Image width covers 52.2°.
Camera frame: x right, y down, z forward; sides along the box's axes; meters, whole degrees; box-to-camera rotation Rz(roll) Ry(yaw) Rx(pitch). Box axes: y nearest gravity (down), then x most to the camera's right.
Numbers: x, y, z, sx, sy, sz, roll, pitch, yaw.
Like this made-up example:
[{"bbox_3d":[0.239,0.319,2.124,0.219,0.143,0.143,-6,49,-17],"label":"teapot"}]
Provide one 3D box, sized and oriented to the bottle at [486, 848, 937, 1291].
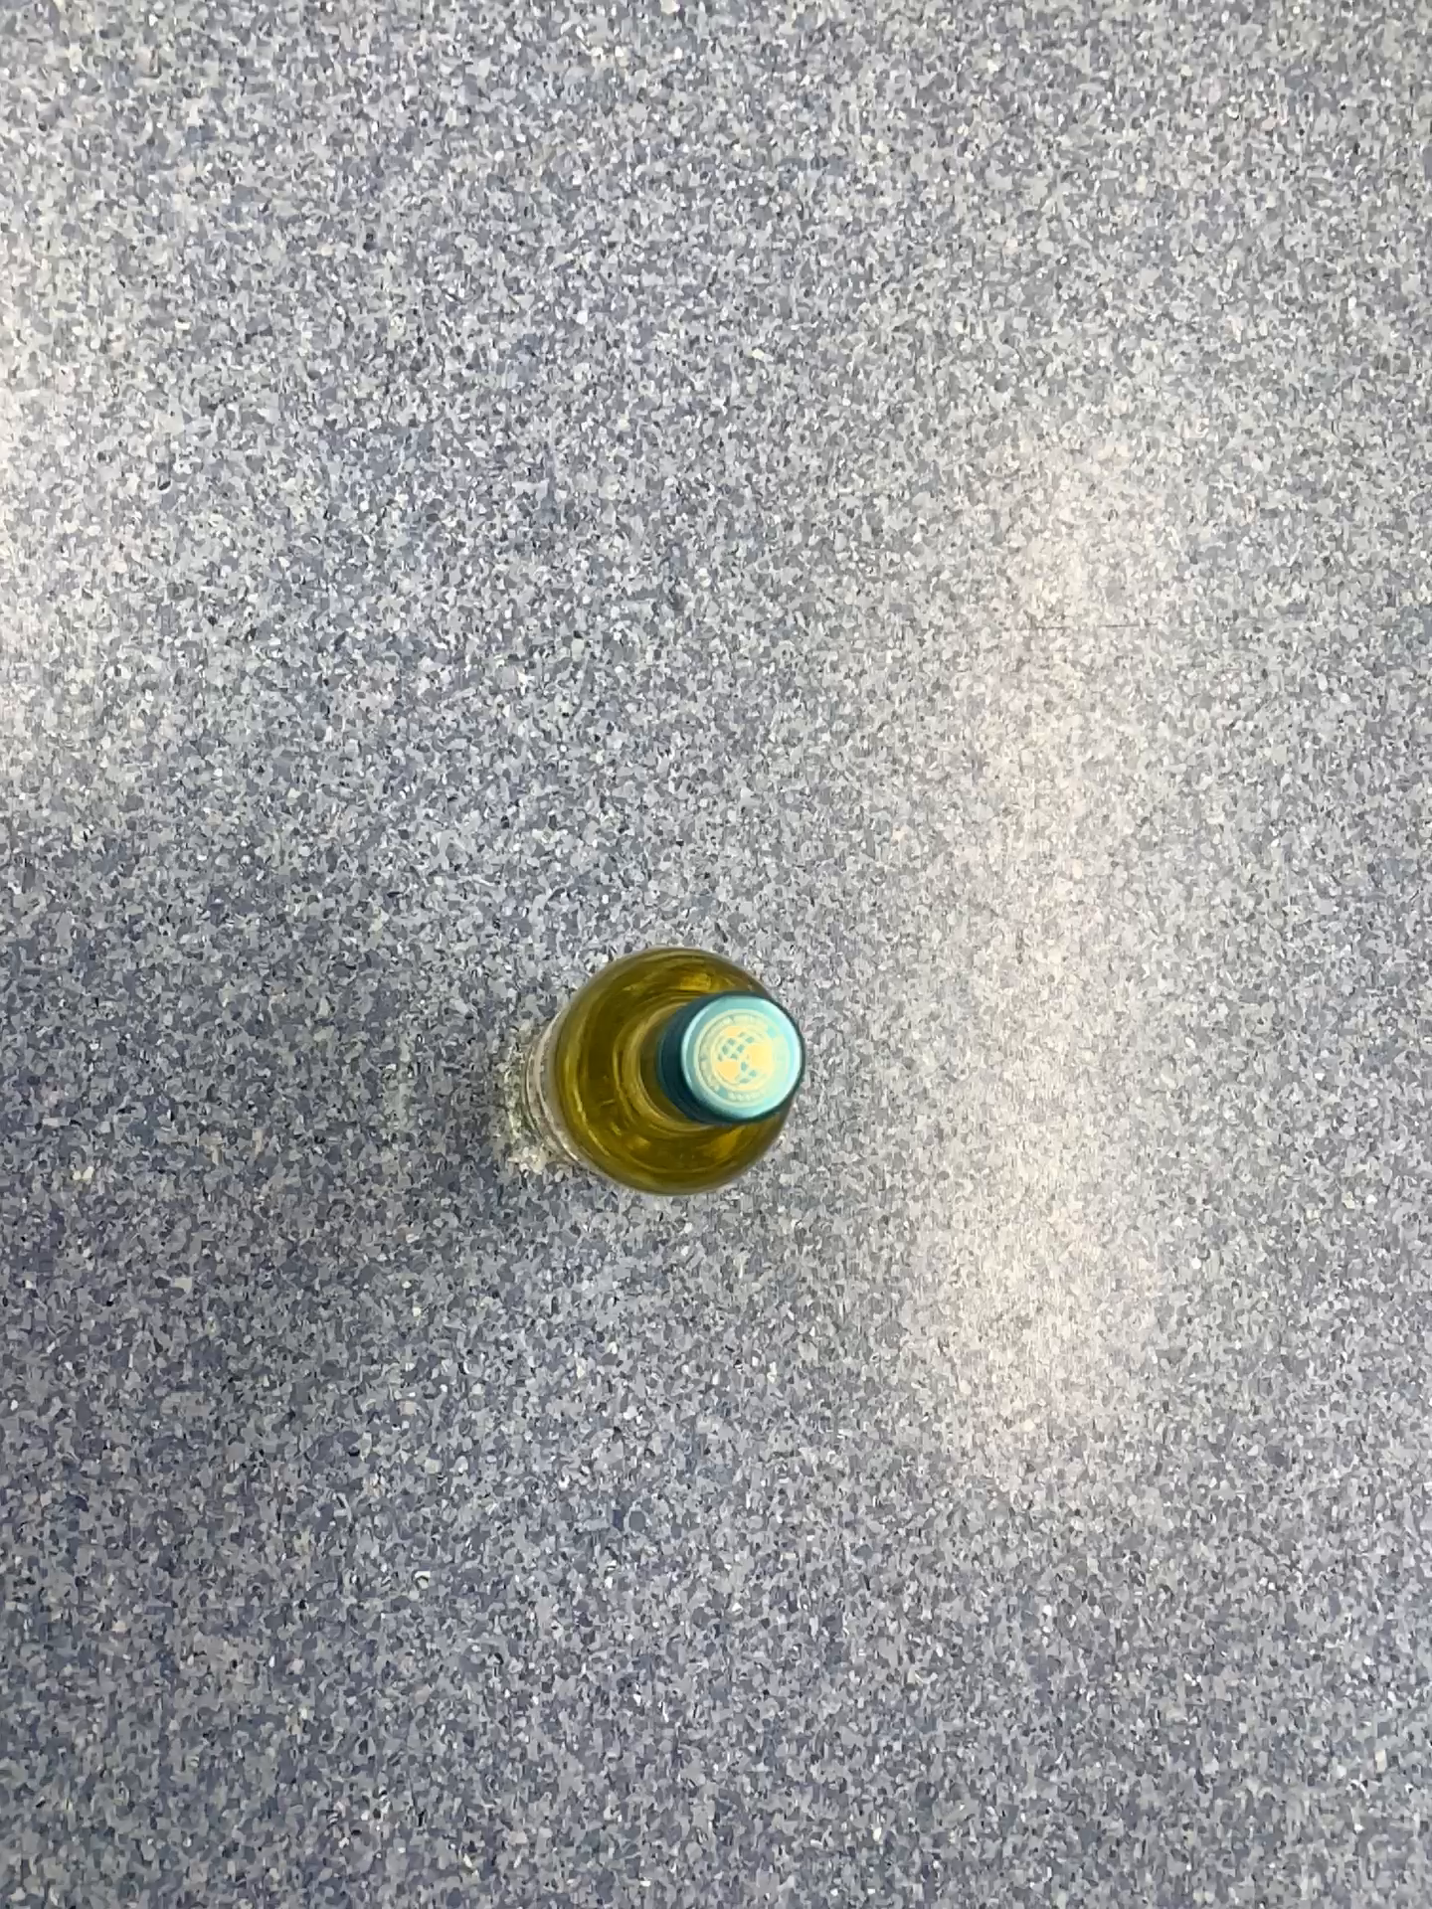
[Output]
[{"bbox_3d":[-0.024,0.041,0.467,0.065,0.308,0.071,1,83,-10],"label":"bottle"}]
